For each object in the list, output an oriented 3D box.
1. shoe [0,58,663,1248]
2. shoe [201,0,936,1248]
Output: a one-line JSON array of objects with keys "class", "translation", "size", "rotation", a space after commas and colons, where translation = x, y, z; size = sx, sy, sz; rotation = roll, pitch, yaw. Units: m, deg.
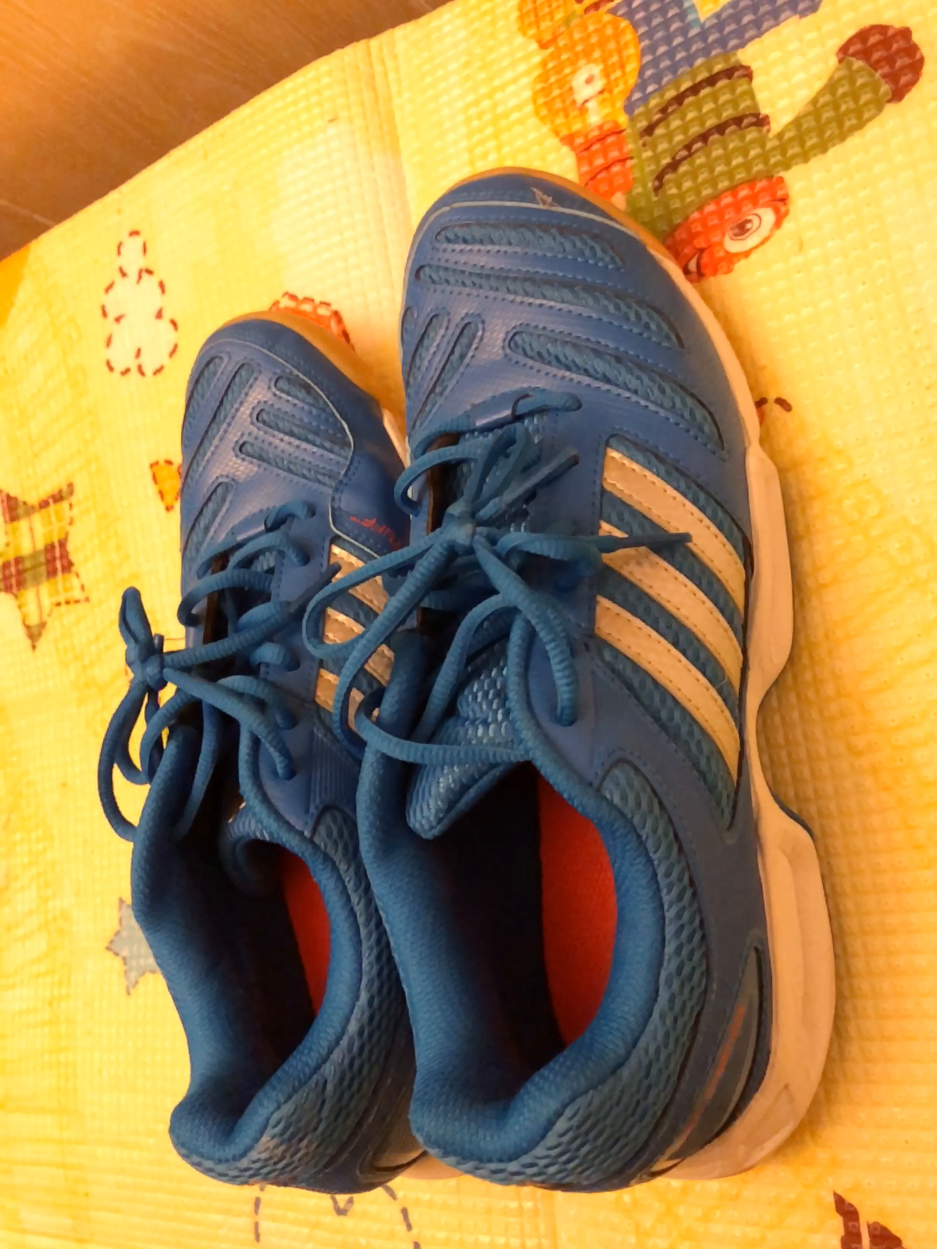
[{"class": "shoe", "translation": [-0.049, 0.014, 0.322], "size": [0.110, 0.139, 0.290], "rotation": [-18, 75, 32]}, {"class": "shoe", "translation": [0.029, -0.003, 0.269], "size": [0.110, 0.119, 0.290], "rotation": [-17, 76, 32]}]
